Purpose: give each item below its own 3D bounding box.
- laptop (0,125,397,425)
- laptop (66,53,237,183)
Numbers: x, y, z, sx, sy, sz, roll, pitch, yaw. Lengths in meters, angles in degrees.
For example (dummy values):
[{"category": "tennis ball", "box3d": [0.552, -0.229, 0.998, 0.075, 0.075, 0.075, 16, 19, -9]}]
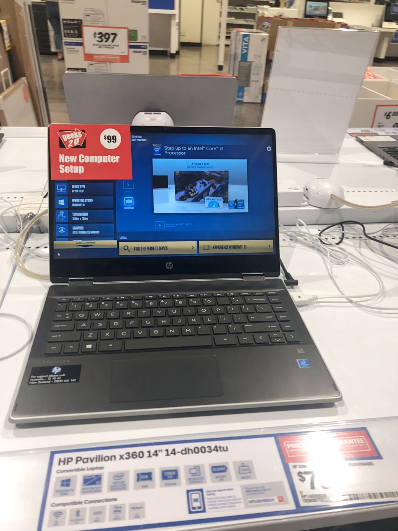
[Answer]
[{"category": "laptop", "box3d": [-0.028, -0.026, 0.506, 0.315, 0.169, 0.341, -1, 32, -8]}, {"category": "laptop", "box3d": [-0.108, -0.344, 0.991, 0.306, 0.199, 0.358, -1, 31, -7]}]
